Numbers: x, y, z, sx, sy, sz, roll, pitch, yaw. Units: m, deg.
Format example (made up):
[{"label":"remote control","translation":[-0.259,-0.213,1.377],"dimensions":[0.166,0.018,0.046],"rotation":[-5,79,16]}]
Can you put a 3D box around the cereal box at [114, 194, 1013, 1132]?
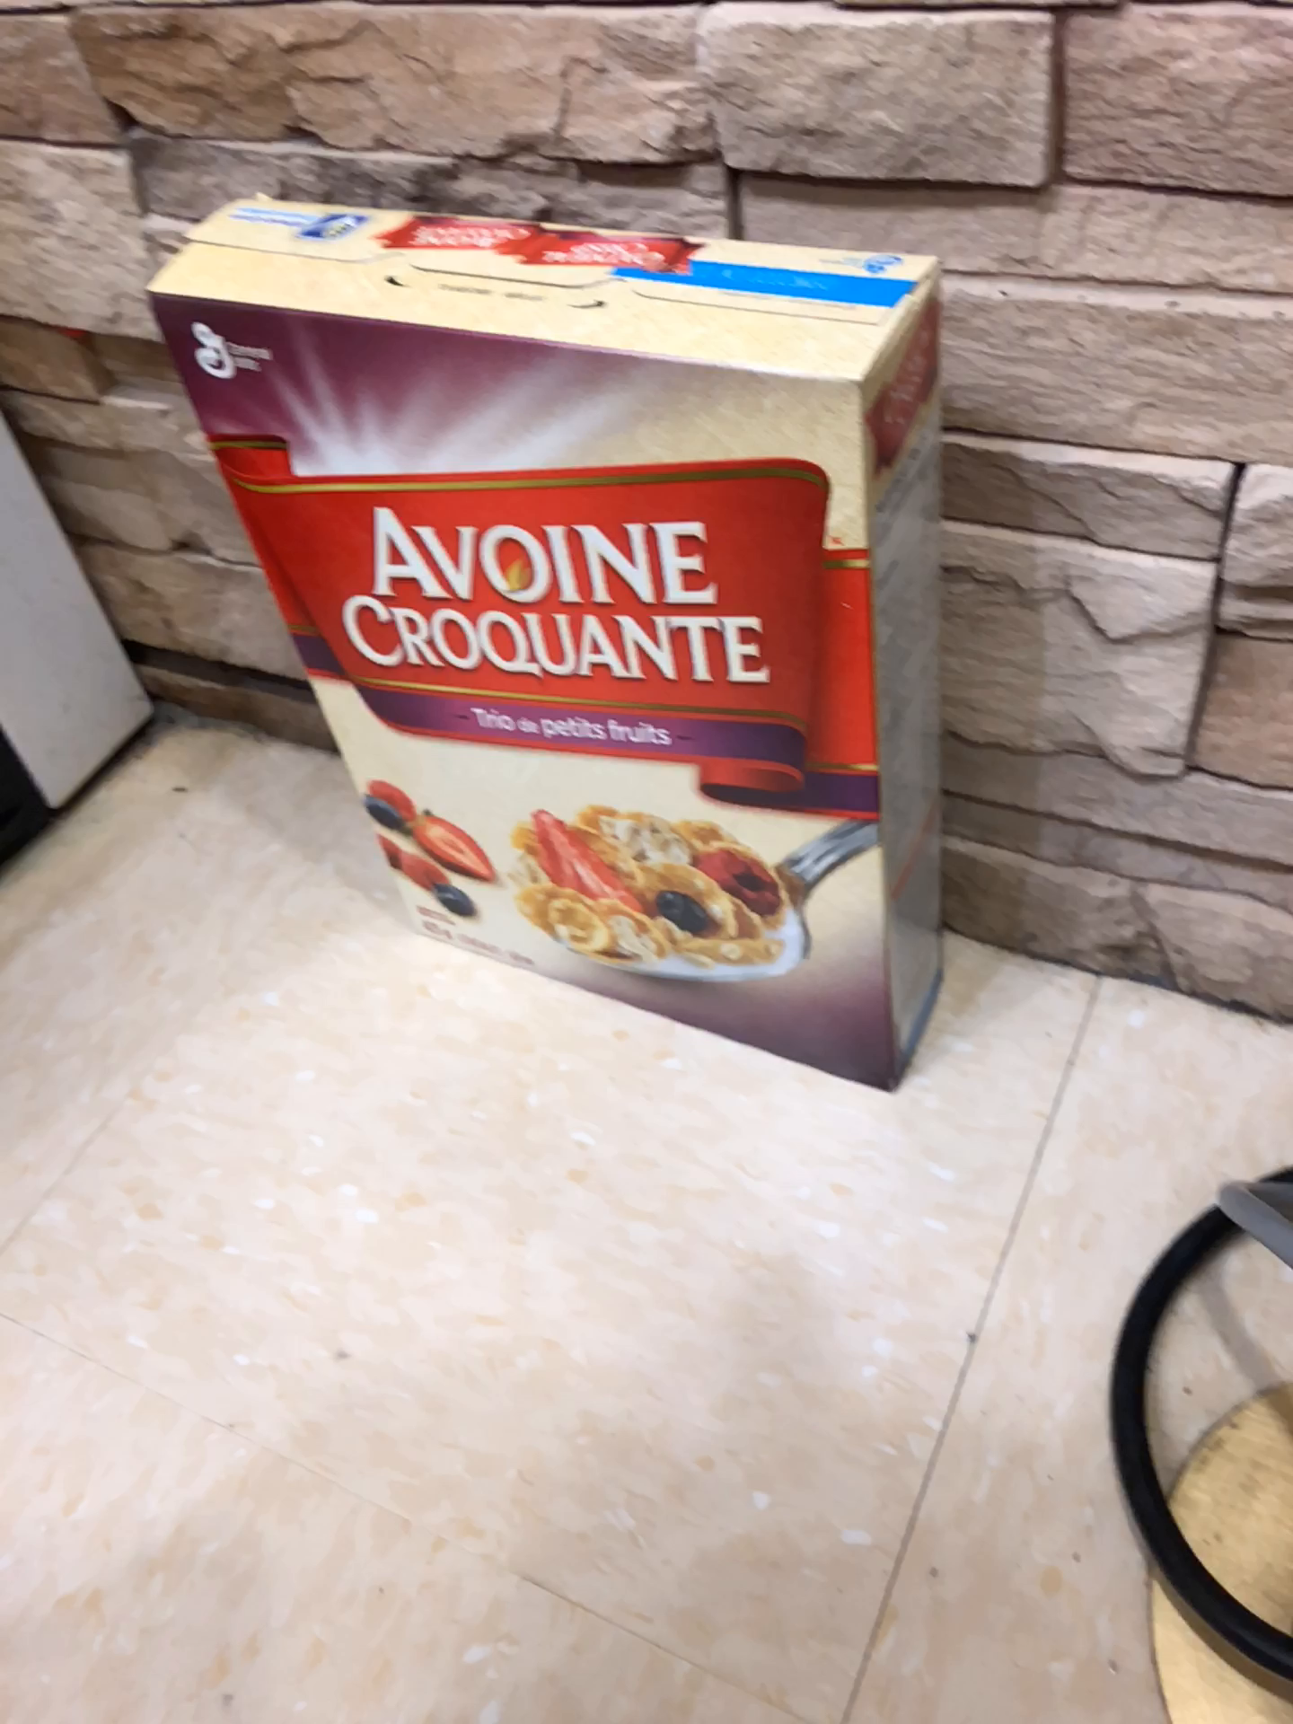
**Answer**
[{"label":"cereal box","translation":[-0.008,-0.046,0.408],"dimensions":[0.201,0.248,0.060],"rotation":[16,53,24]}]
